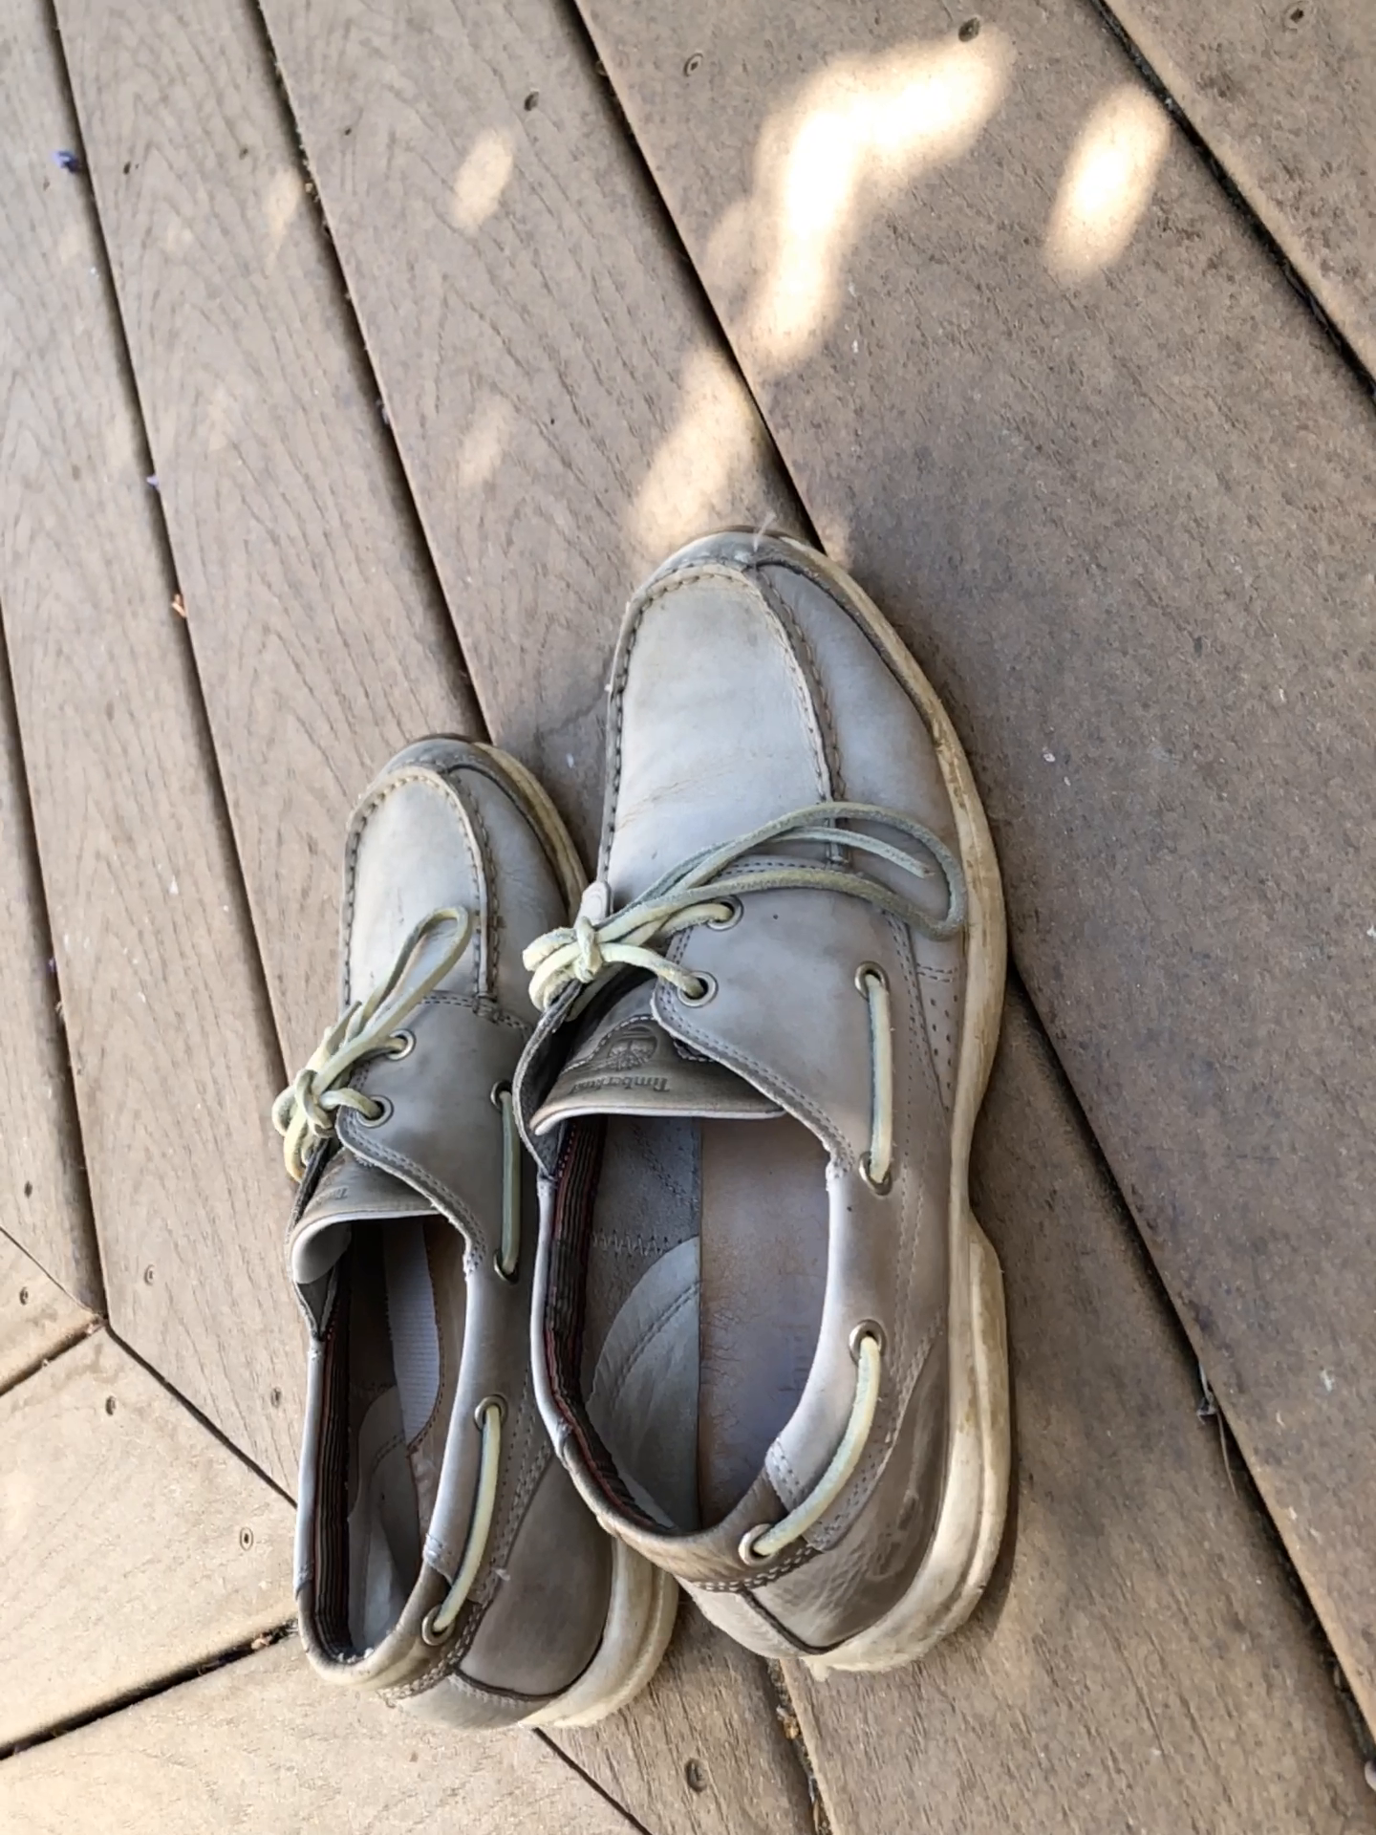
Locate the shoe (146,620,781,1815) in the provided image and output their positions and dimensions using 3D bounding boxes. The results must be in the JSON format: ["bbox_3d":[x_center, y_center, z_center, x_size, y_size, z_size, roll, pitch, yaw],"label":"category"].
[{"bbox_3d":[-0.080,0.083,0.464,0.119,0.095,0.310,-27,63,33],"label":"shoe"}]

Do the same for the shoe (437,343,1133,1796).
[{"bbox_3d":[0.015,0.033,0.395,0.122,0.097,0.312,-16,70,37],"label":"shoe"}]
